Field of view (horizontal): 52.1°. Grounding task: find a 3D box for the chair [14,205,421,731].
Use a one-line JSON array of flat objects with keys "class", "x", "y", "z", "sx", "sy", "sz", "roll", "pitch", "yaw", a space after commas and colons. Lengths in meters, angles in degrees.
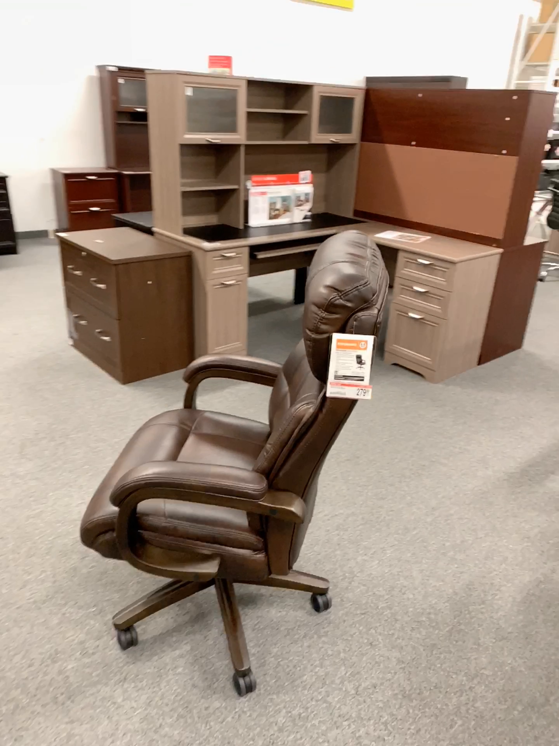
[{"class": "chair", "x": -0.102, "y": 0.190, "z": 1.536, "sx": 0.700, "sy": 1.095, "sz": 0.754, "roll": 5, "pitch": 25, "yaw": 4}]
